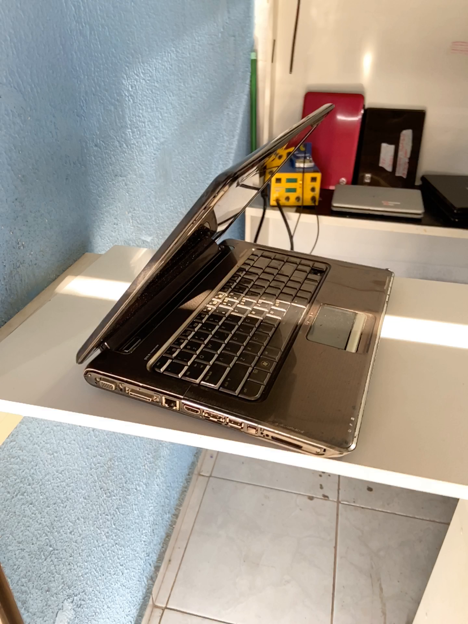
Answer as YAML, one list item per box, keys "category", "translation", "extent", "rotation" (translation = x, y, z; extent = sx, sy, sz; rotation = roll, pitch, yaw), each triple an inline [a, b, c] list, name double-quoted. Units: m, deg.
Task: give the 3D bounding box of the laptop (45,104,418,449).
- category: "laptop"
  translation: [0.038, -0.084, 0.506]
  extent: [0.244, 0.190, 0.346]
  rotation: [12, 32, 18]
